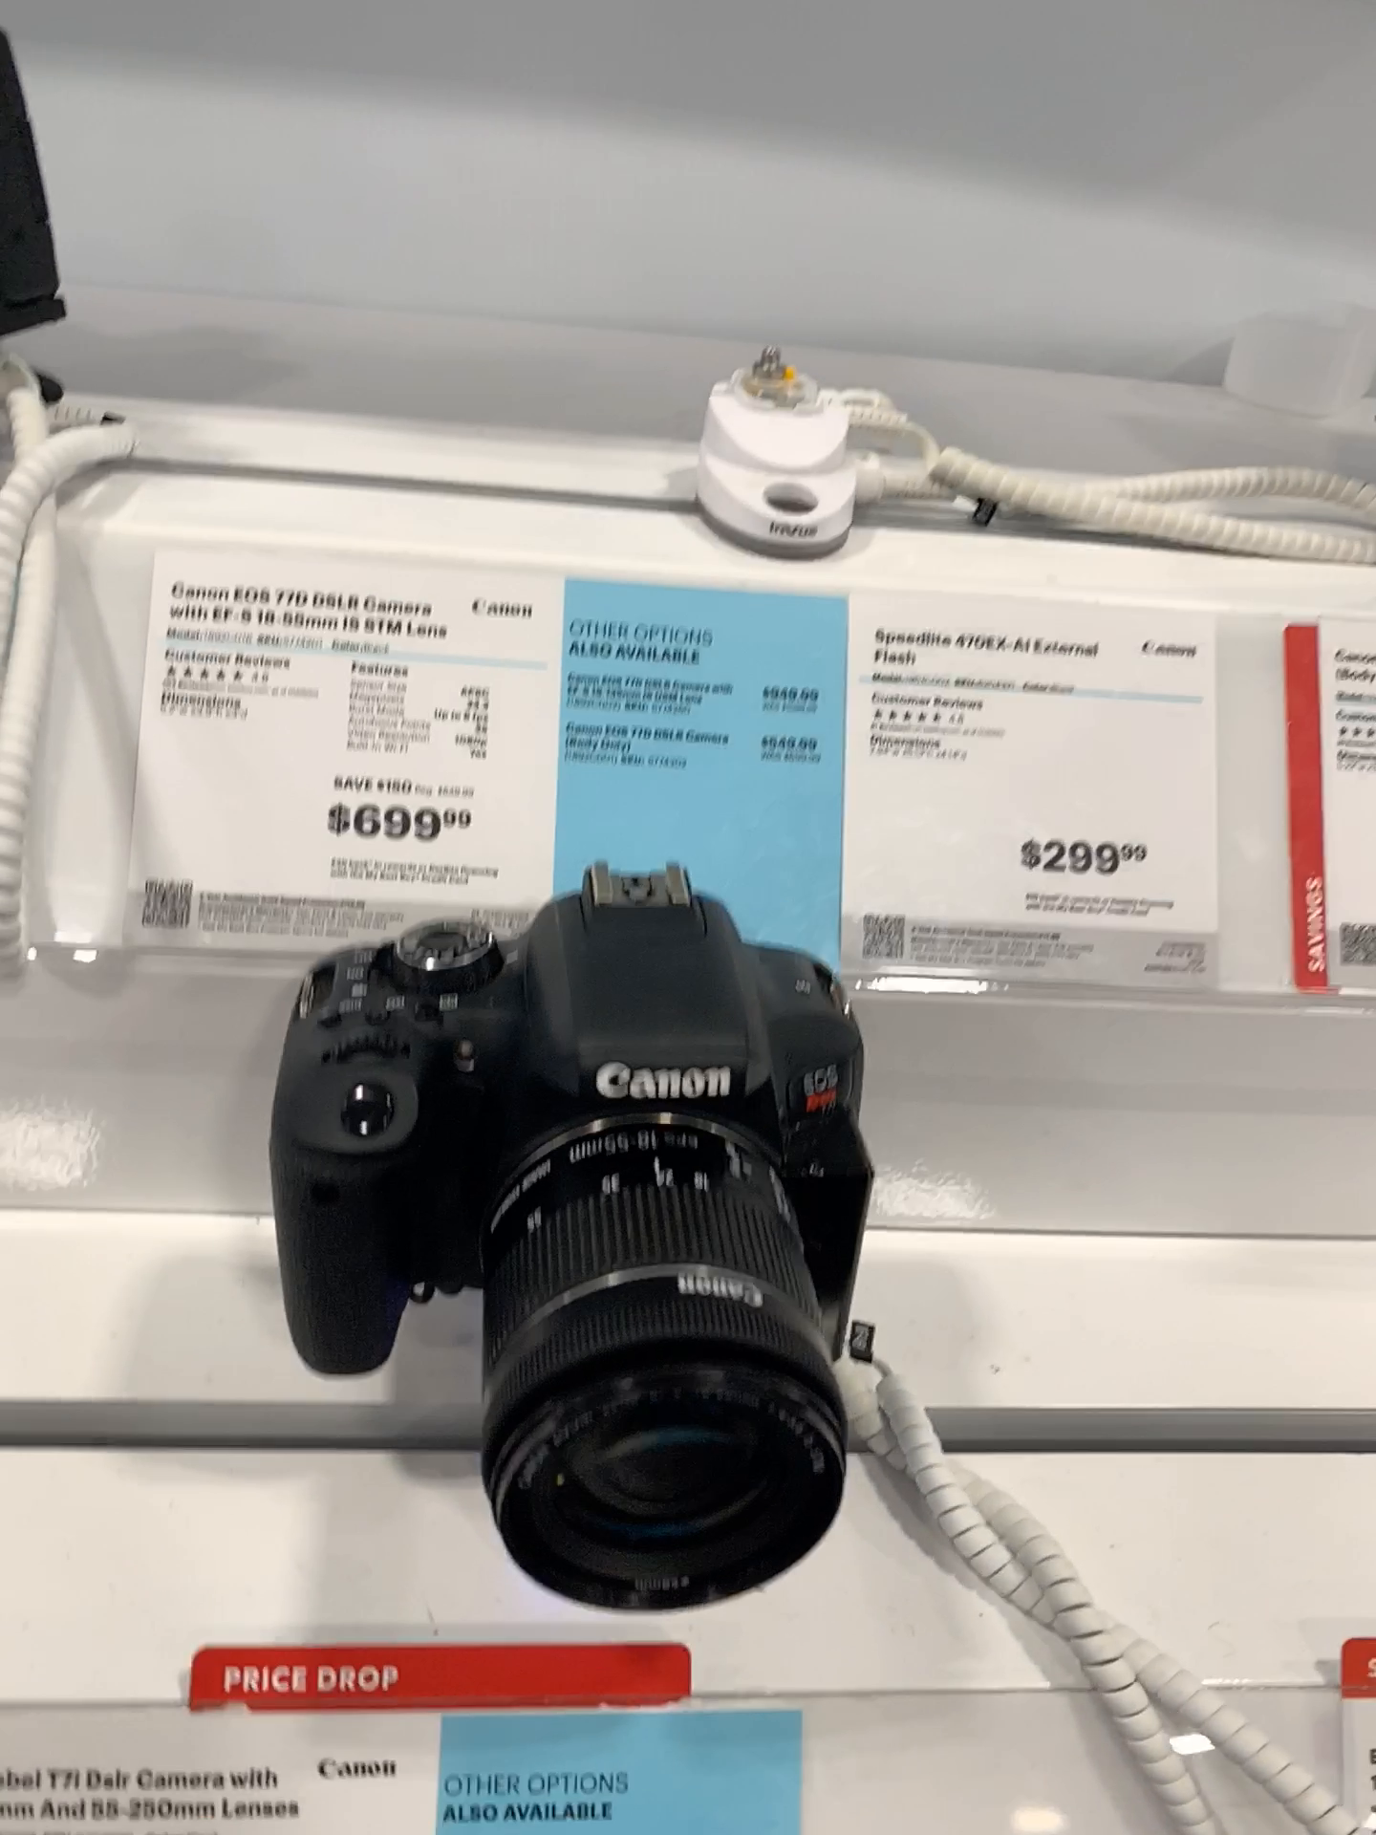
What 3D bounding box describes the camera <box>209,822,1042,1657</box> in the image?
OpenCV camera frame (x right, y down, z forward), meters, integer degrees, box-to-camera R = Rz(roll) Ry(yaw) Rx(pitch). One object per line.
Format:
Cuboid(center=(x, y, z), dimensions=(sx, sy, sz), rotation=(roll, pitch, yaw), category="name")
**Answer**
Cuboid(center=(-0.019, 0.057, 0.305), dimensions=(0.130, 0.100, 0.139), rotation=(-1, 32, -8), category="camera")
